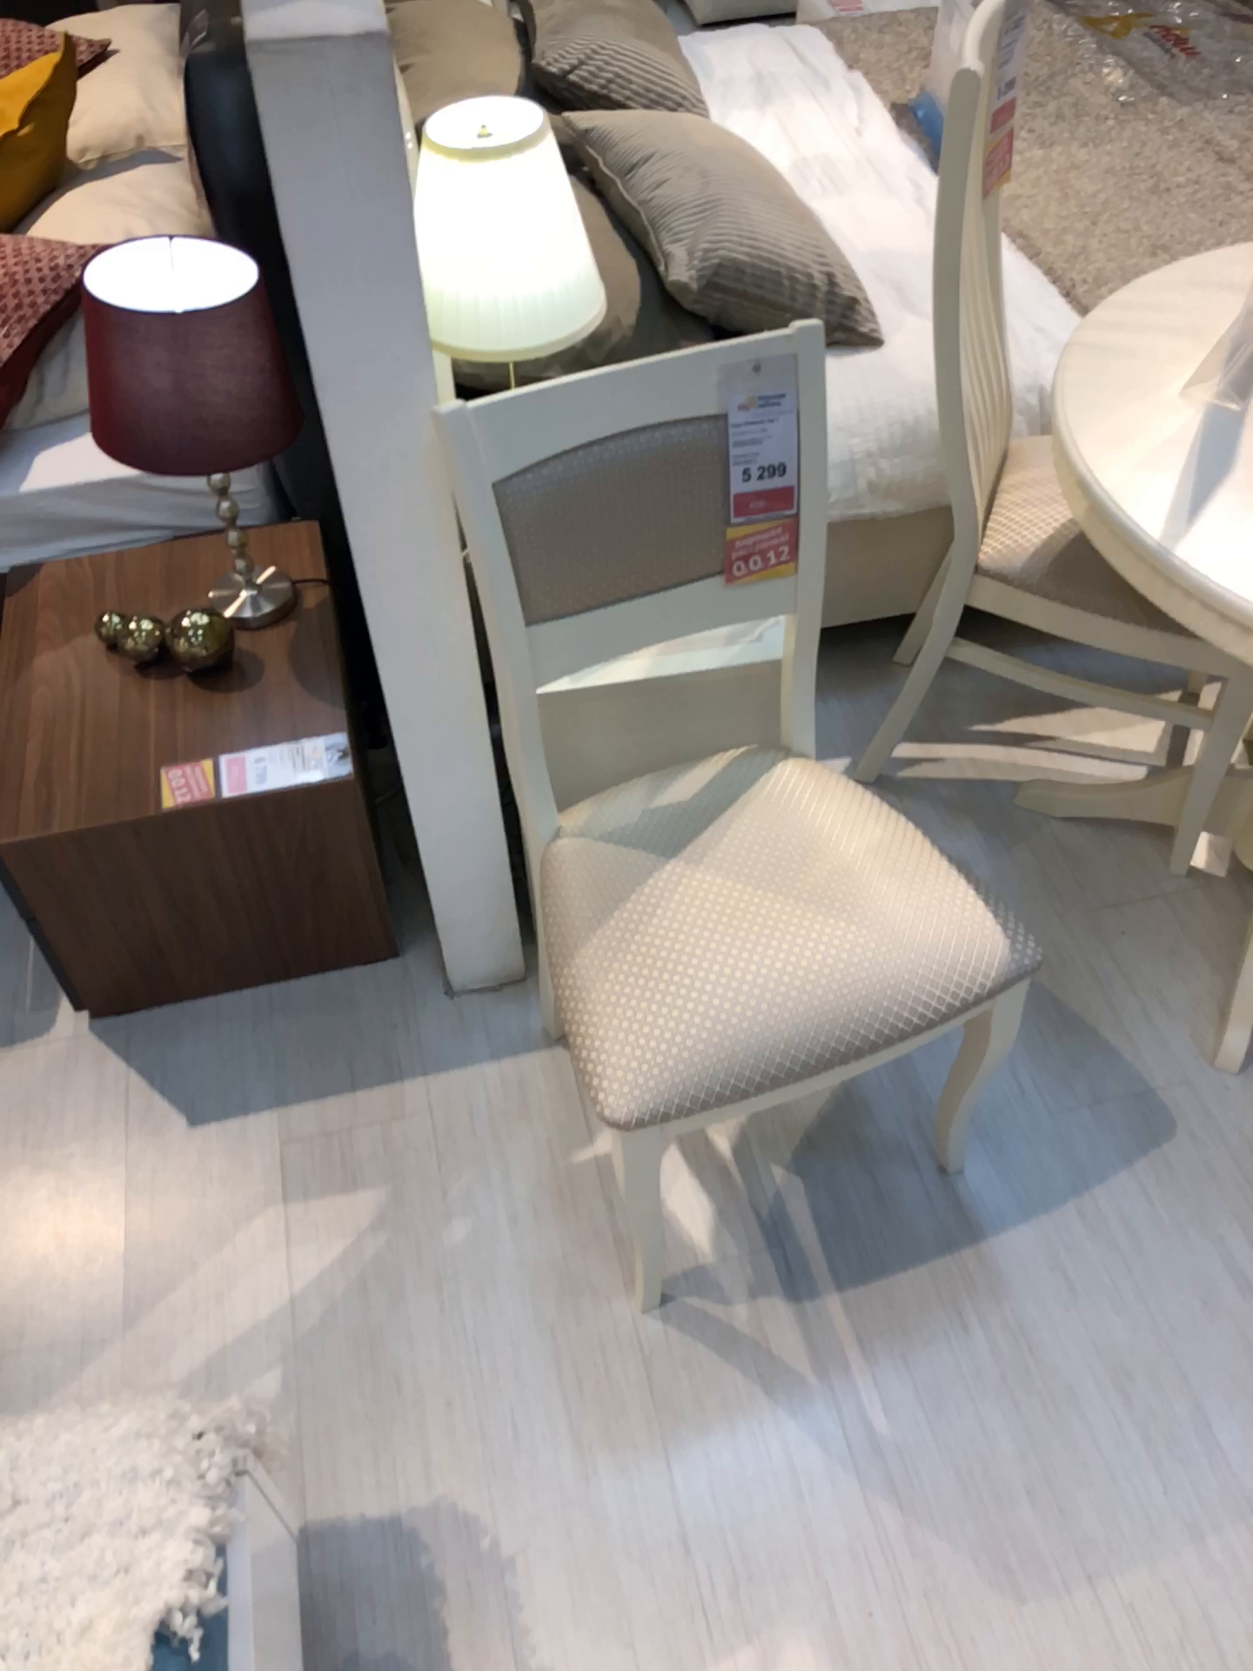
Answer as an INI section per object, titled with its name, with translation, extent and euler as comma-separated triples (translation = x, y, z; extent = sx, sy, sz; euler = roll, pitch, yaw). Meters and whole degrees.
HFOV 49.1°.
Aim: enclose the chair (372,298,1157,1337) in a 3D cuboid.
[chair]
translation = 0.100, 0.033, 1.463
extent = 0.471, 0.946, 0.473
euler = -19, 49, -15
